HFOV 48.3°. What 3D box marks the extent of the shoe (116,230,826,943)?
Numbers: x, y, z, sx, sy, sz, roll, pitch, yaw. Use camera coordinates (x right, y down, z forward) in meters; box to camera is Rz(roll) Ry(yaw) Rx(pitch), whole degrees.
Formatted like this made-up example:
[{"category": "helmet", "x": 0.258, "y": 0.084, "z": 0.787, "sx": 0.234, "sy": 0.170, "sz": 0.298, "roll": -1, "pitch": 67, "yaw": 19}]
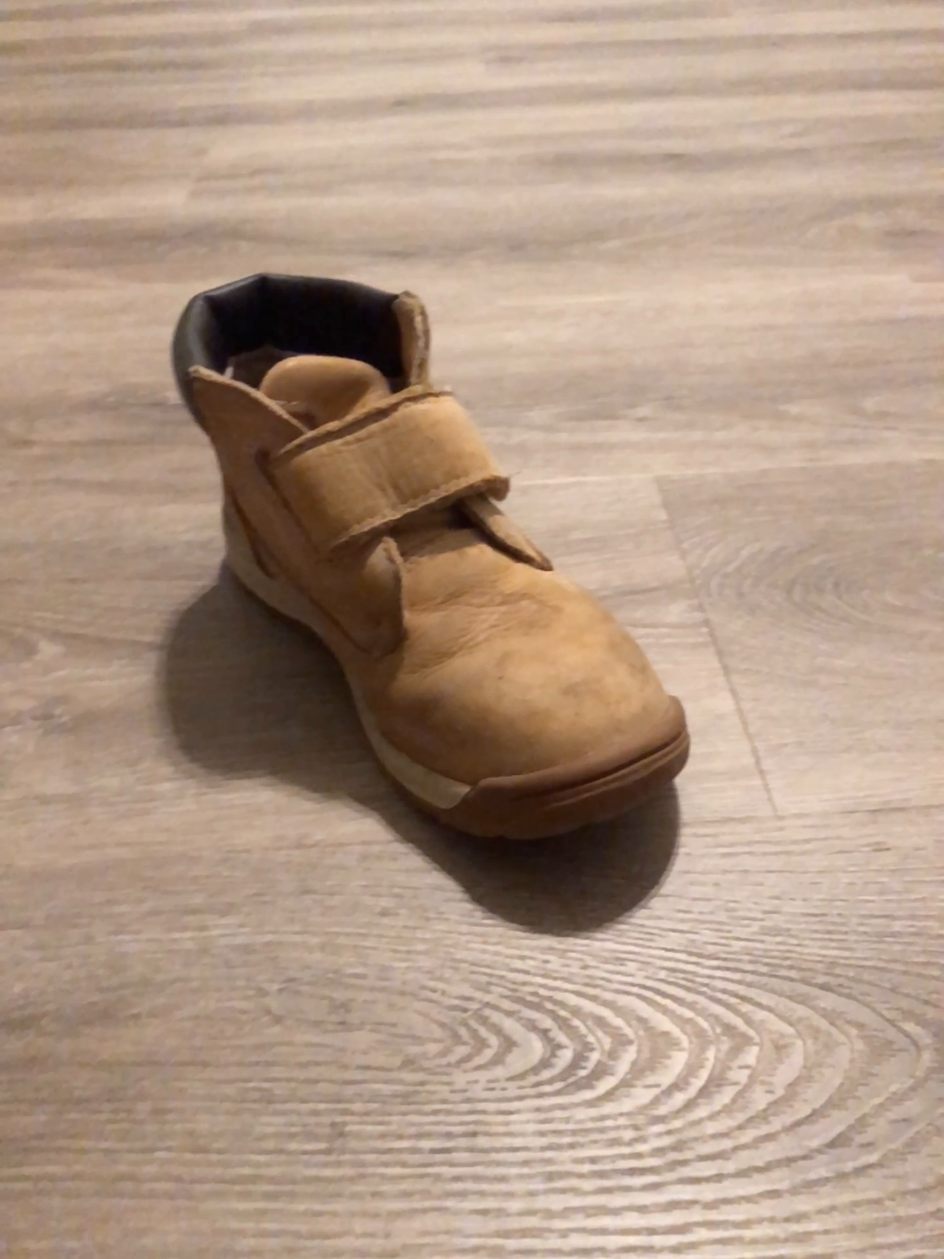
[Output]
[{"category": "shoe", "x": -0.014, "y": -0.031, "z": 0.308, "sx": 0.090, "sy": 0.099, "sz": 0.201, "roll": -24, "pitch": 44, "yaw": -25}]
